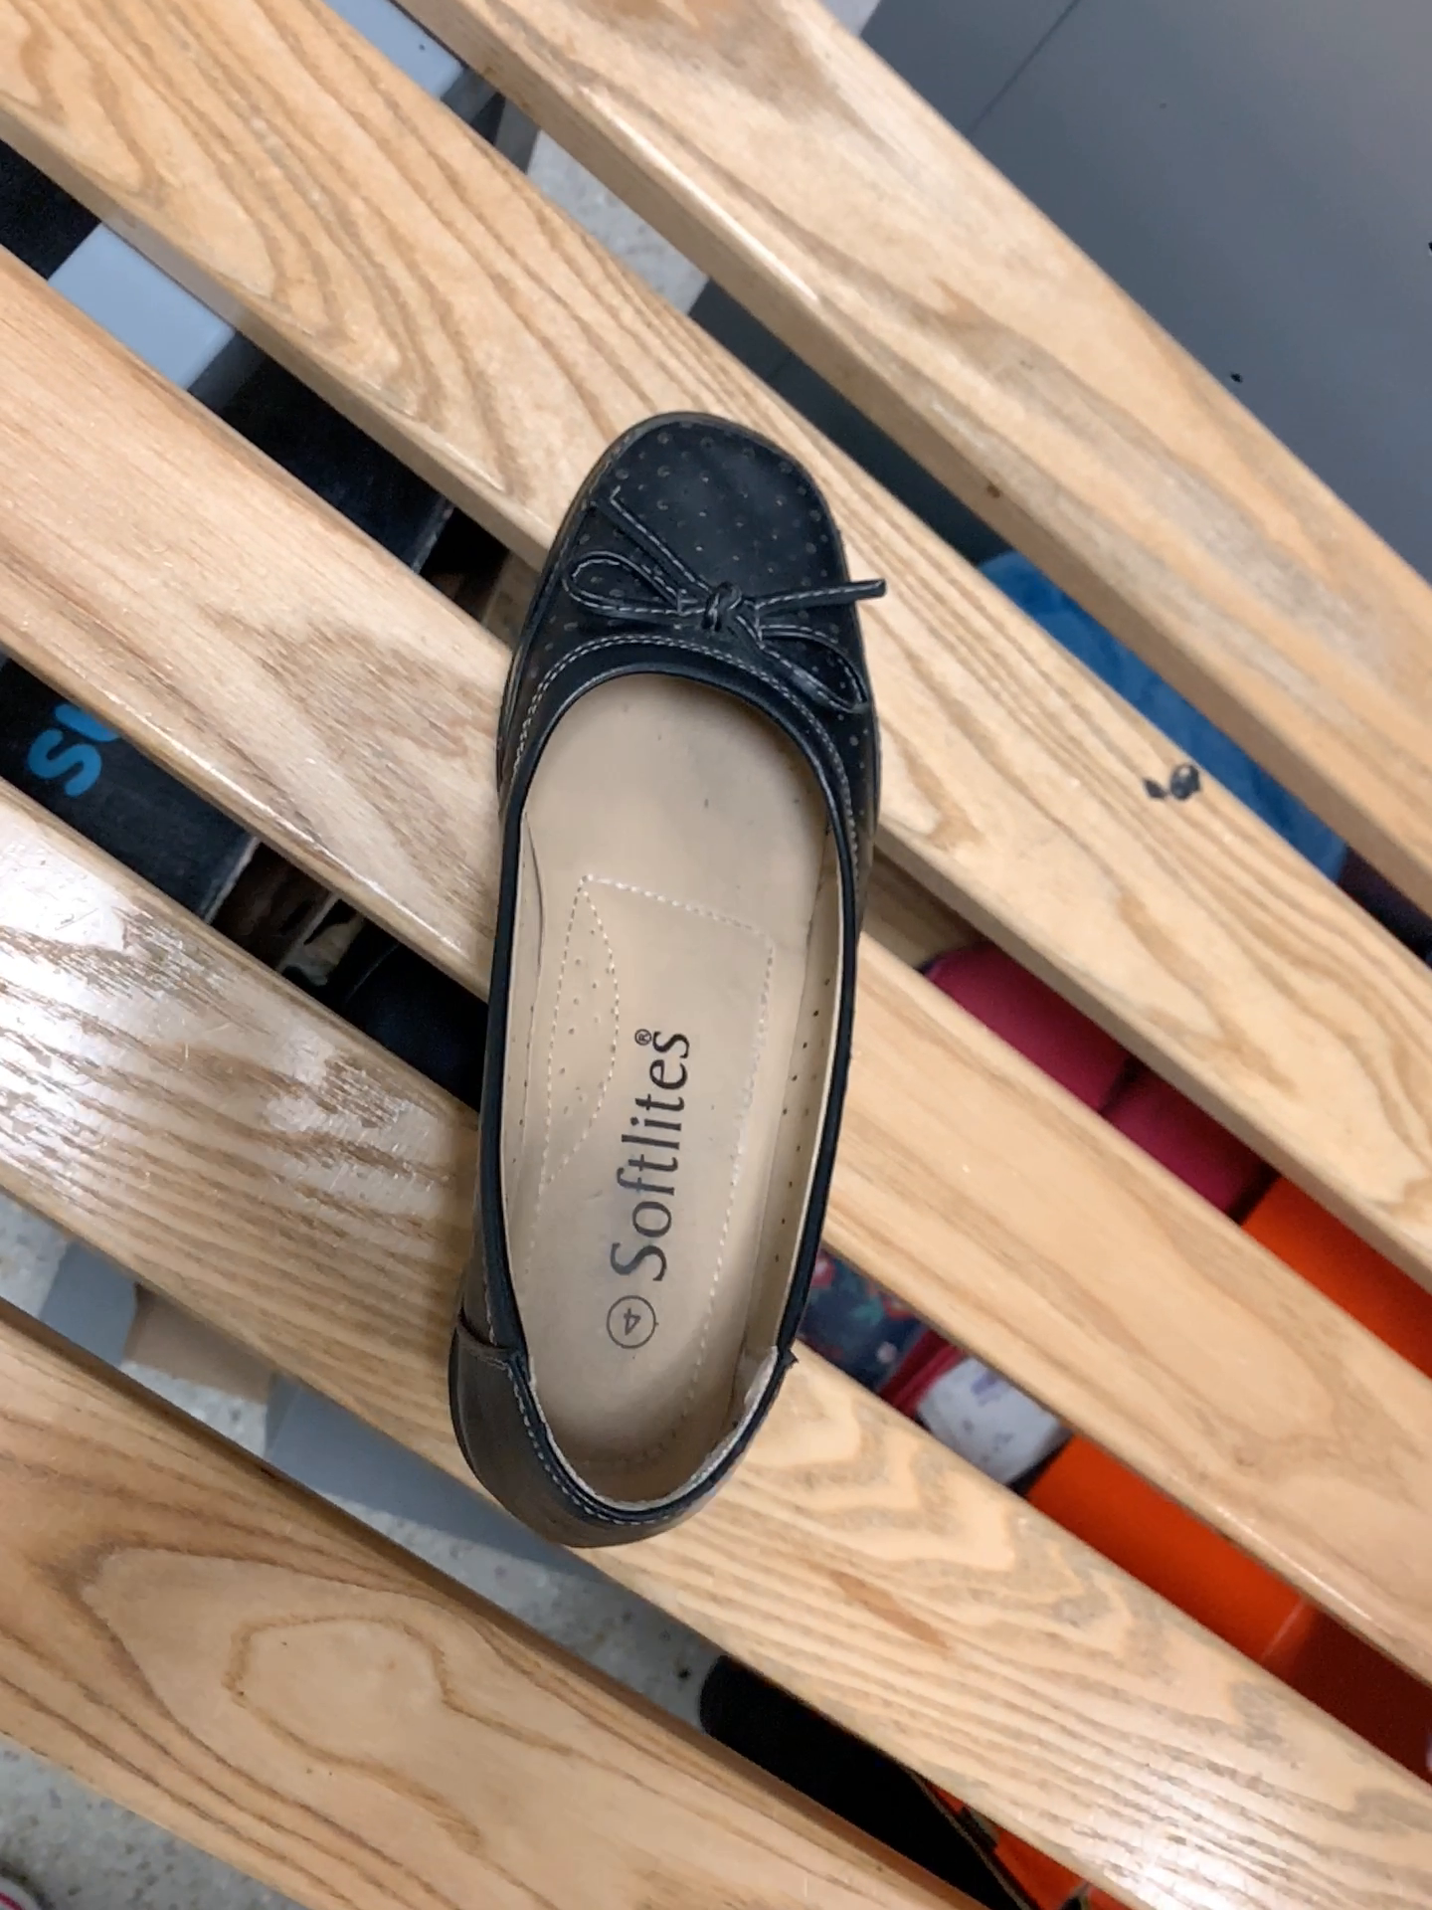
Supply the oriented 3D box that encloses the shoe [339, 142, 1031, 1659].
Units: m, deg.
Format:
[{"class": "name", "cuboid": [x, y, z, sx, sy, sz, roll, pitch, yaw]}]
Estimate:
[{"class": "shoe", "cuboid": [-0.011, -0.009, 0.326, 0.087, 0.109, 0.272, 11, 80, -17]}]
